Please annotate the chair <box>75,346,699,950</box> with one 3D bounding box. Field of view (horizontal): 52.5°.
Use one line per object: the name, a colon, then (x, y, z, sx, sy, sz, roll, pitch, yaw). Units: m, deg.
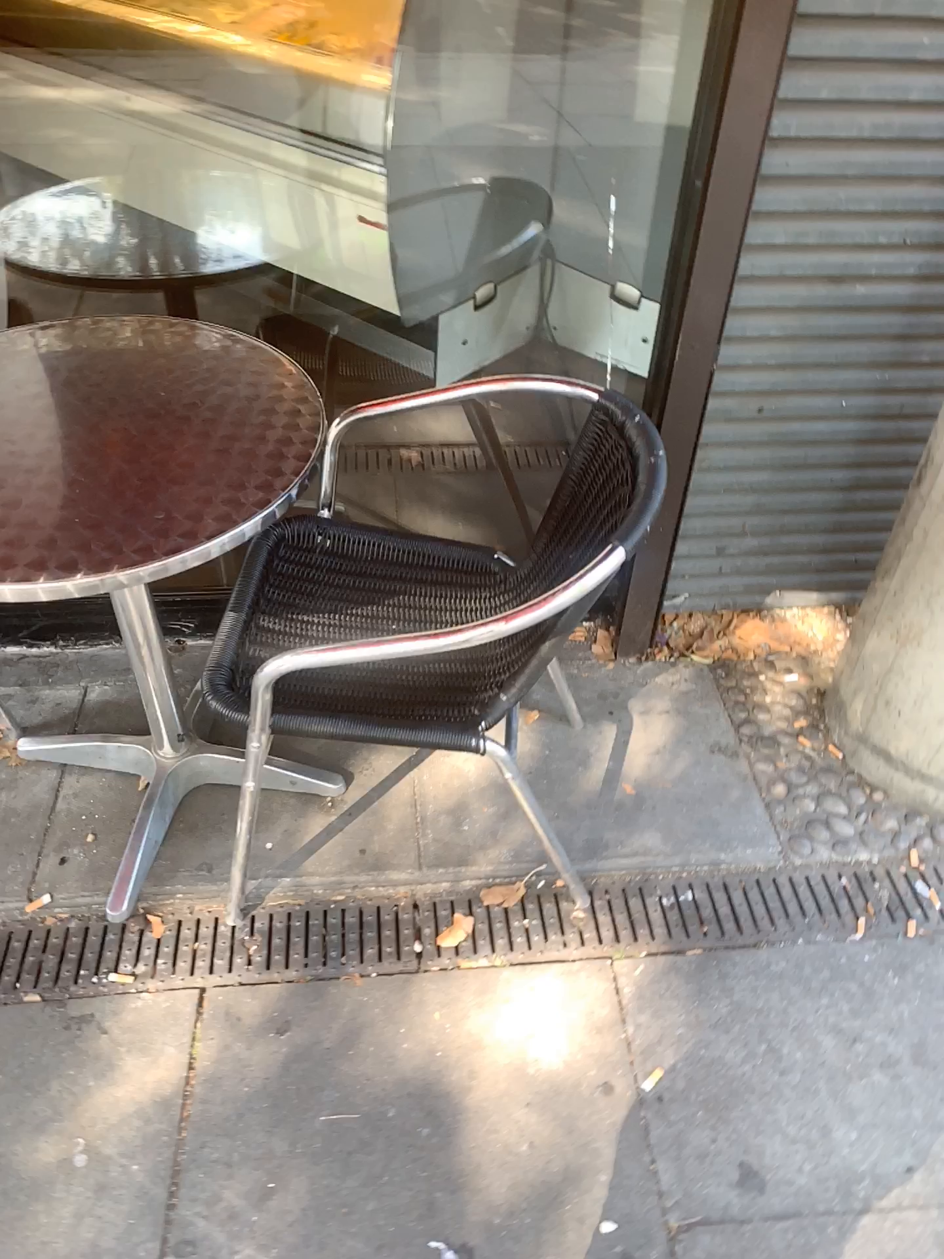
chair: (-0.085, 0.017, 1.404, 0.640, 0.604, 0.606, 3, 41, 1)
